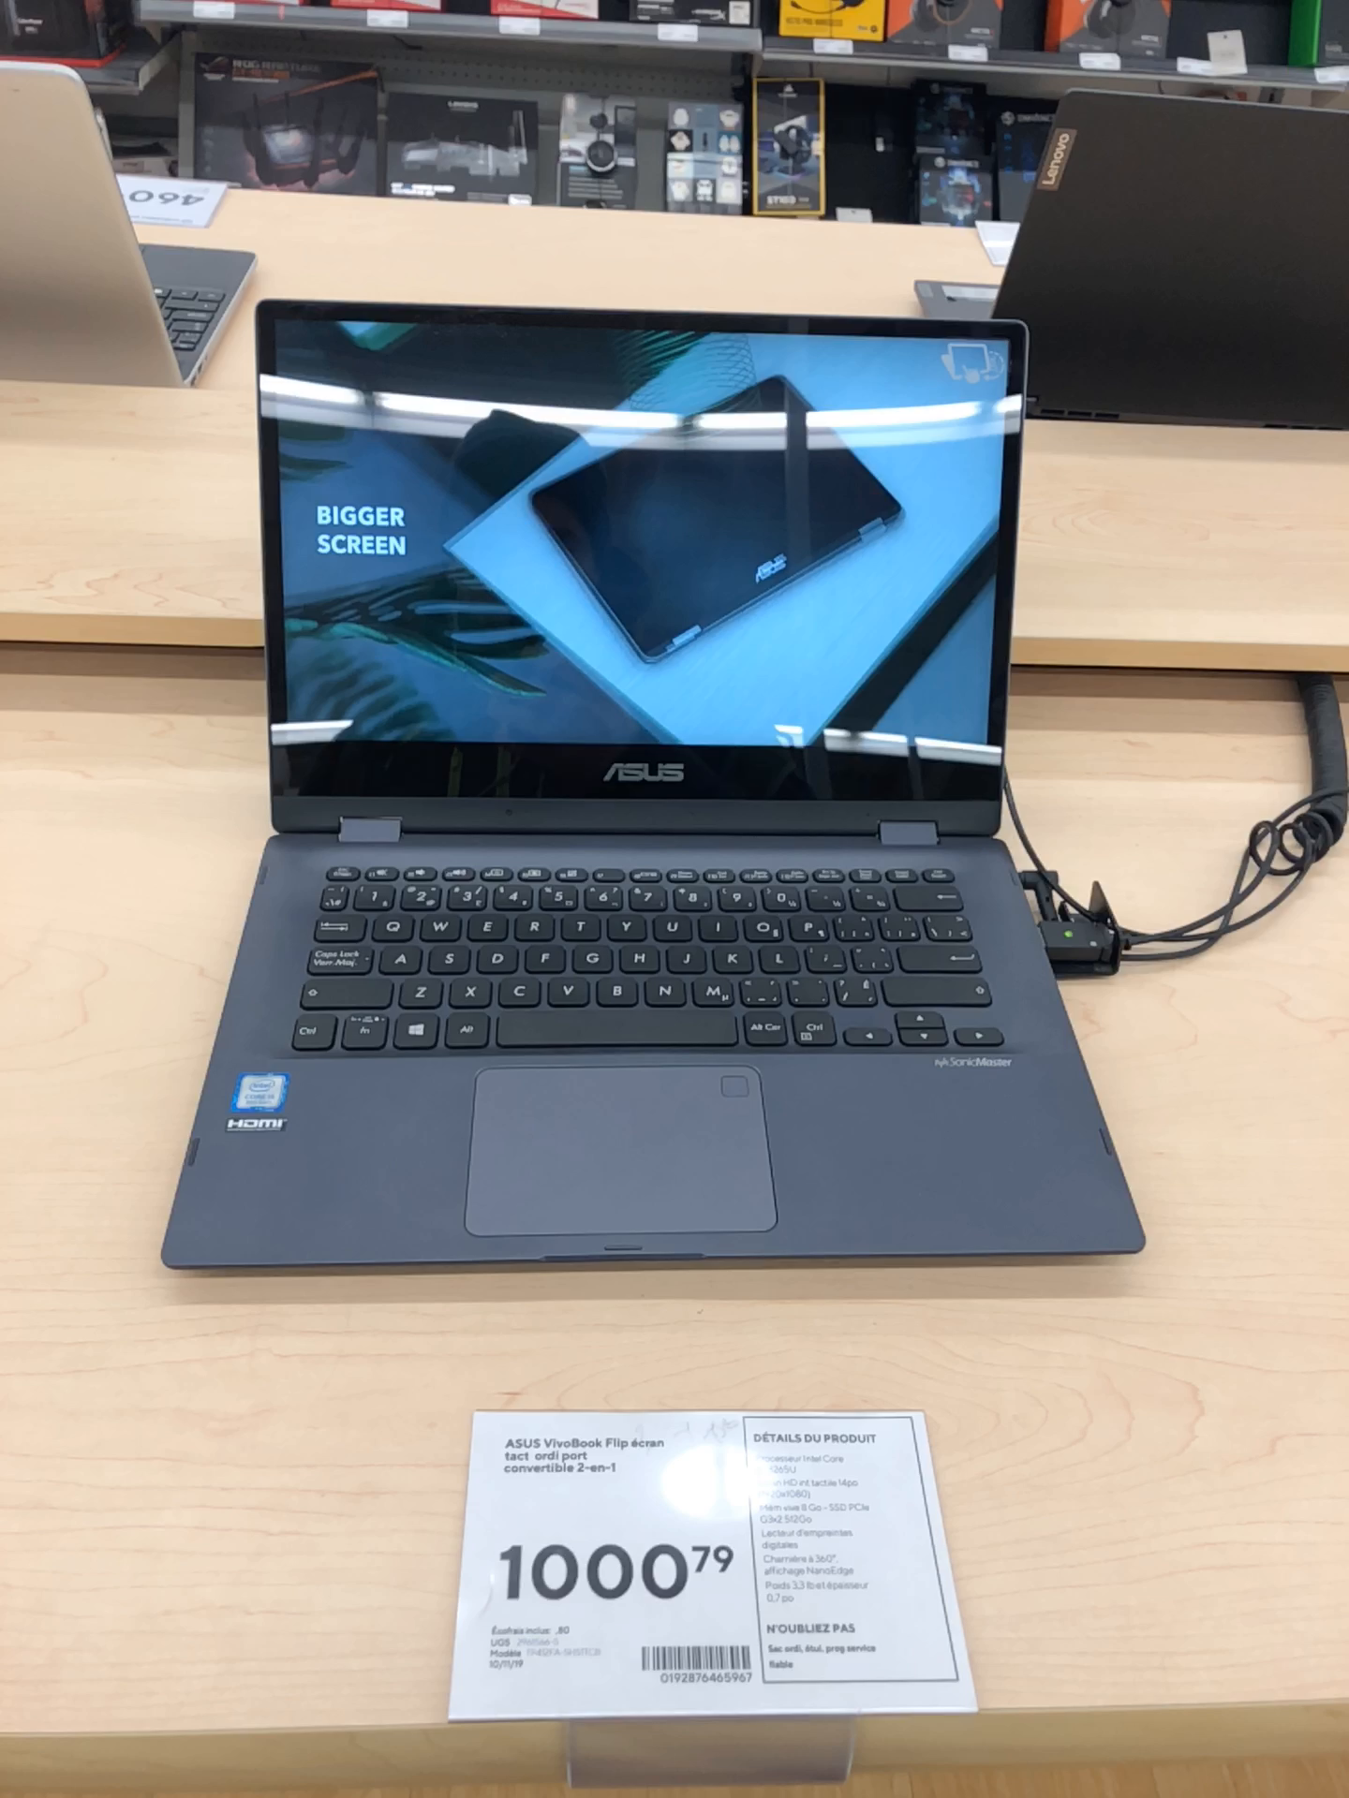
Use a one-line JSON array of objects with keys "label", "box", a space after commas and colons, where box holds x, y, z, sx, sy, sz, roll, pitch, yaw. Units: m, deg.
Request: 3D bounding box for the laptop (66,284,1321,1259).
[{"label": "laptop", "box": [-0.008, -0.064, 0.558, 0.319, 0.184, 0.332, 1, 43, -4]}]
